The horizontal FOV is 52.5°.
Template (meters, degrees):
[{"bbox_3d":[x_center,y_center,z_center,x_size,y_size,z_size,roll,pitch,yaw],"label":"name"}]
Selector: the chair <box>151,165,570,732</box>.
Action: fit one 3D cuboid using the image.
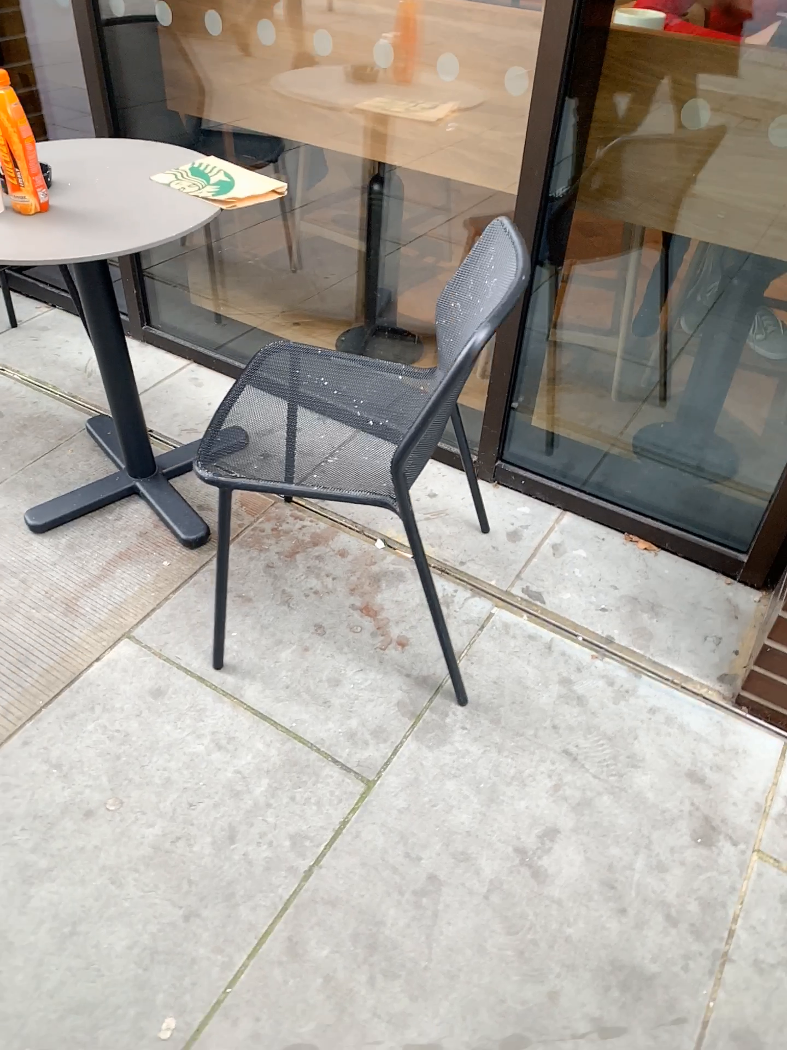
[{"bbox_3d":[-0.023,-0.142,1.507,0.540,0.797,0.595,9,41,6],"label":"chair"}]
